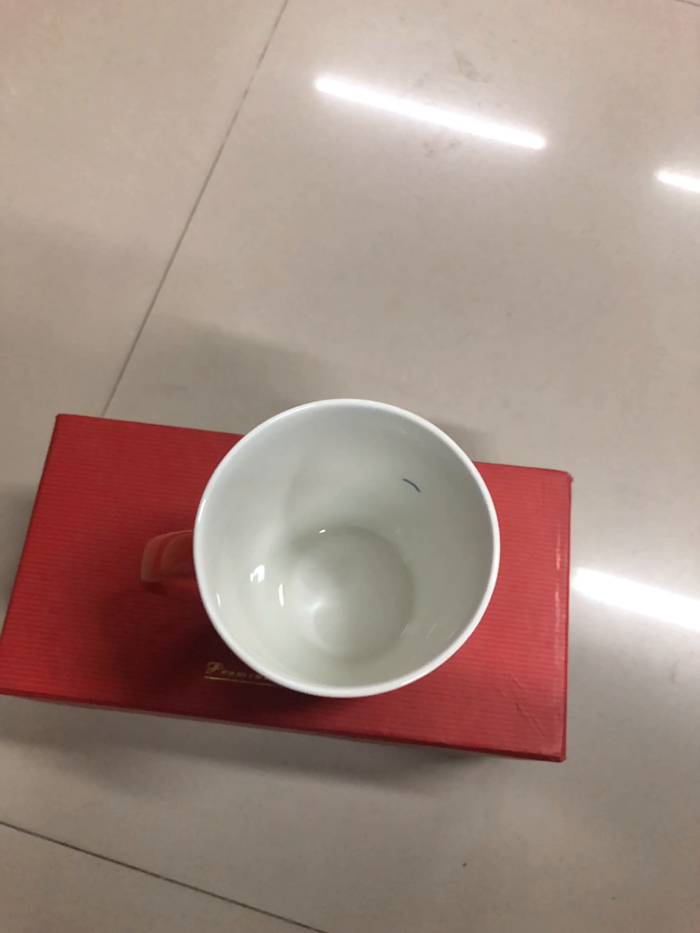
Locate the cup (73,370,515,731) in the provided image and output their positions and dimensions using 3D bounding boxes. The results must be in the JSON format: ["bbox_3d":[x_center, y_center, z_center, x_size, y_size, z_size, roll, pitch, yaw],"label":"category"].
[{"bbox_3d":[-0.012,0.033,0.252,0.110,0.090,0.090,4,71,0],"label":"cup"}]
